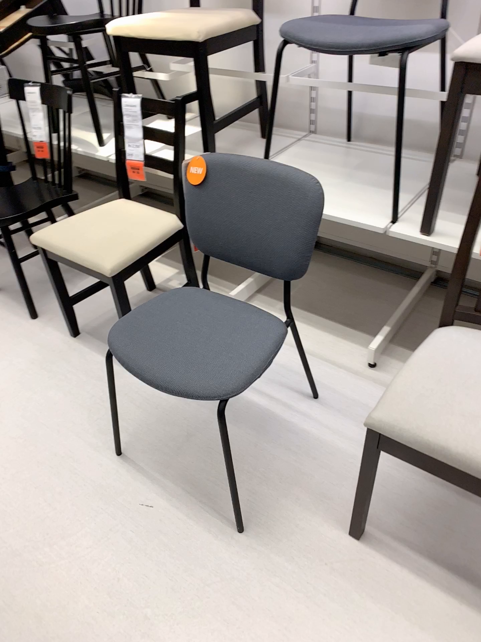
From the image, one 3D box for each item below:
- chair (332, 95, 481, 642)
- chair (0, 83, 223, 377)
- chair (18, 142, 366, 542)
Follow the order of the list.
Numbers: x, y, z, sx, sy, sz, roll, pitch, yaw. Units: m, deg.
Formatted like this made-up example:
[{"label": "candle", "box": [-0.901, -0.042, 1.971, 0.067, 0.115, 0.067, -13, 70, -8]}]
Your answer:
[{"label": "chair", "box": [0.551, 0.123, 1.006, 0.481, 0.926, 0.531, 21, 46, 28]}, {"label": "chair", "box": [-0.449, -0.338, 1.767, 0.481, 0.807, 0.531, 22, 46, 29]}, {"label": "chair", "box": [-0.063, 0.028, 1.325, 0.521, 0.757, 0.591, 21, 46, 28]}]
